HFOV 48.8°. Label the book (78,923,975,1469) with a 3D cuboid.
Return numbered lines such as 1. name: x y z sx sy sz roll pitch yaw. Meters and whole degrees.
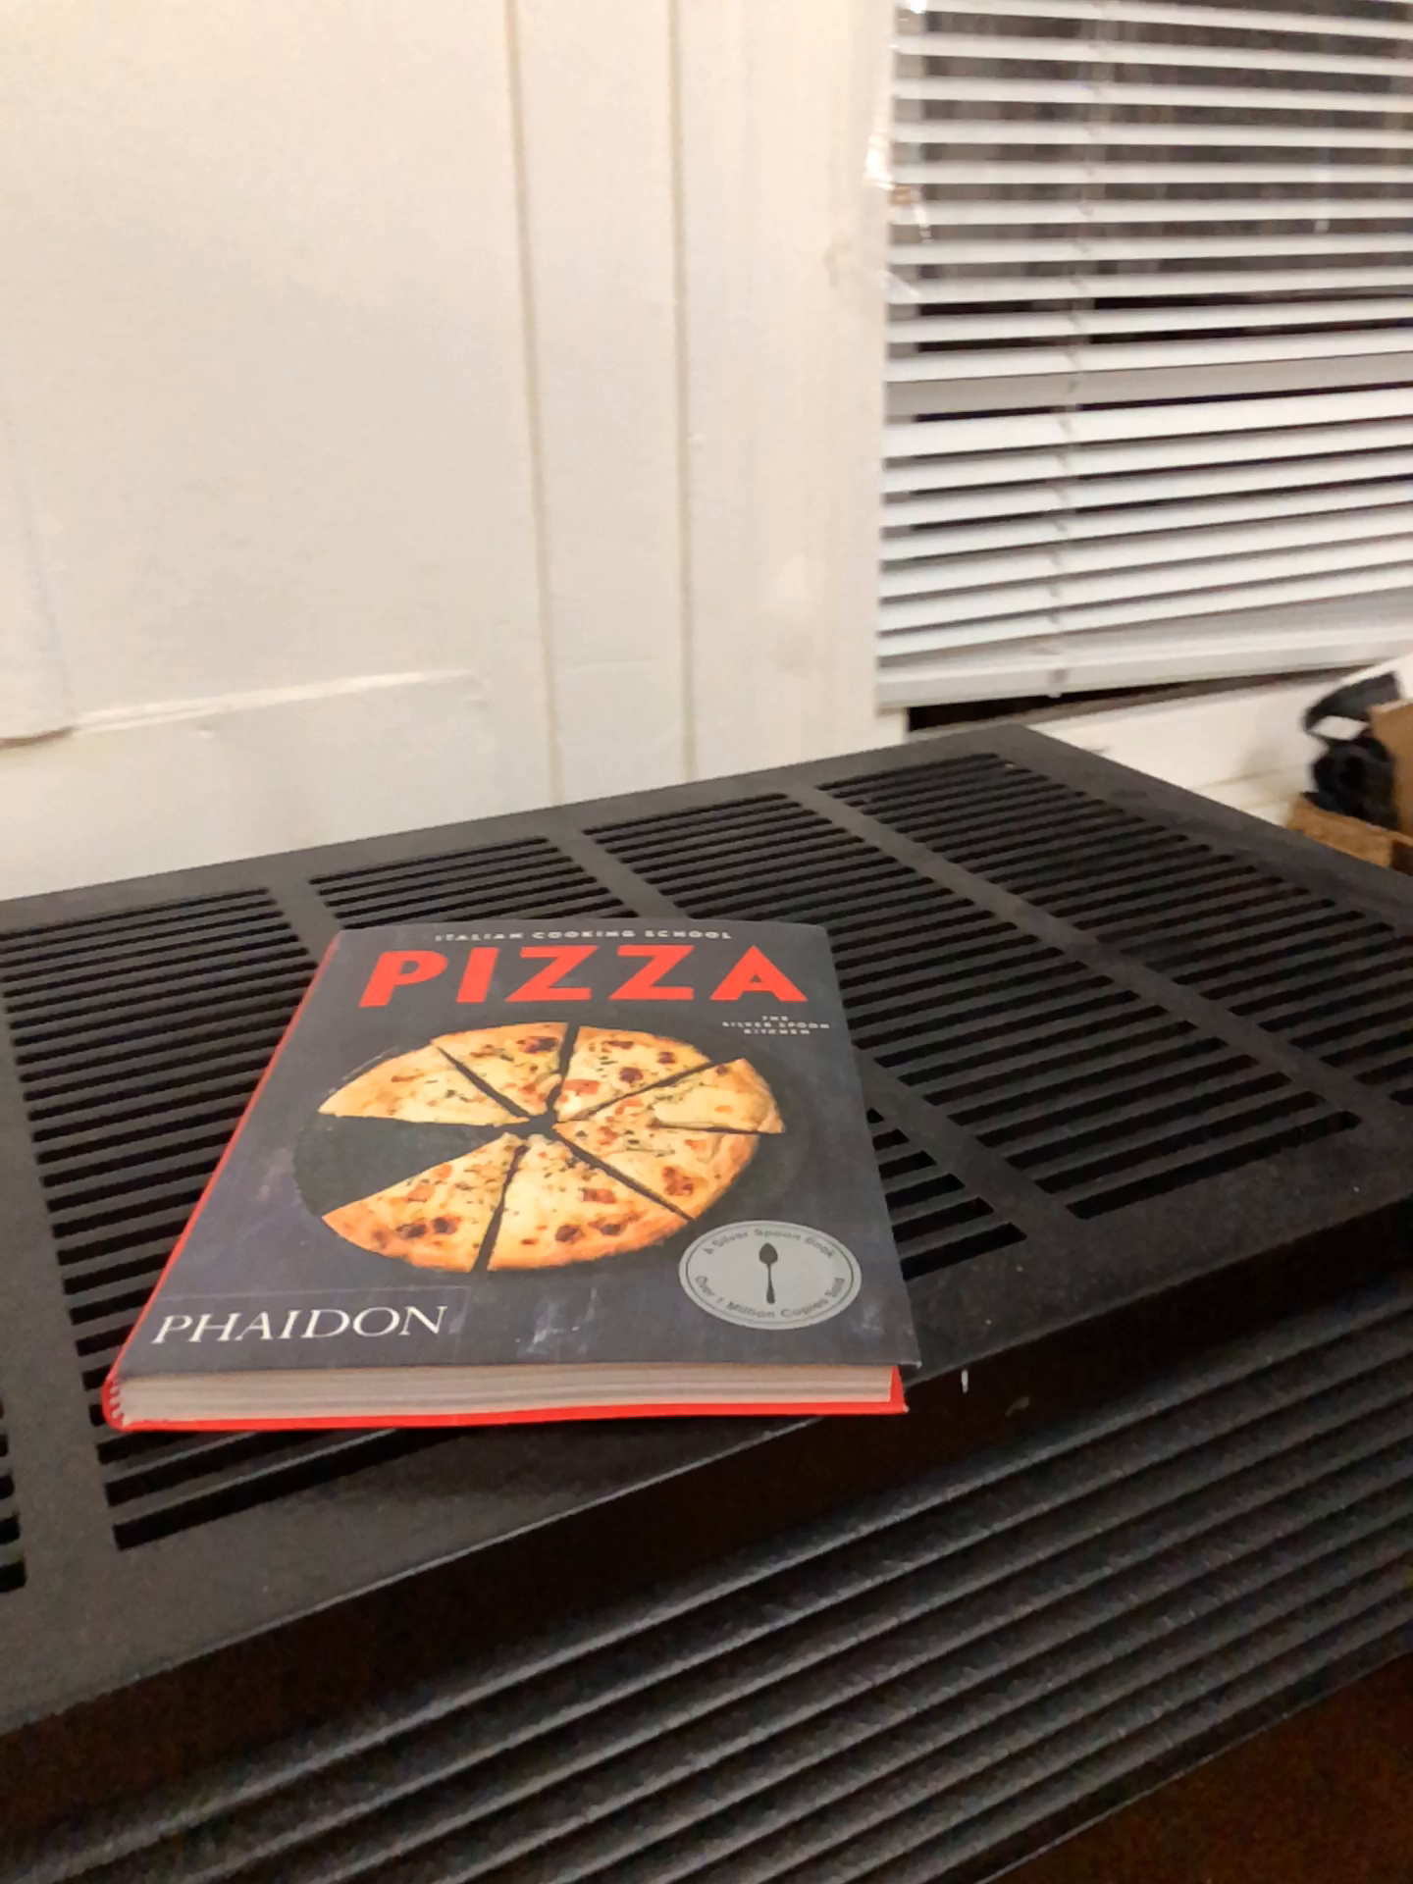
1. book: -0.037 0.051 0.422 0.180 0.020 0.231 -1 23 0
